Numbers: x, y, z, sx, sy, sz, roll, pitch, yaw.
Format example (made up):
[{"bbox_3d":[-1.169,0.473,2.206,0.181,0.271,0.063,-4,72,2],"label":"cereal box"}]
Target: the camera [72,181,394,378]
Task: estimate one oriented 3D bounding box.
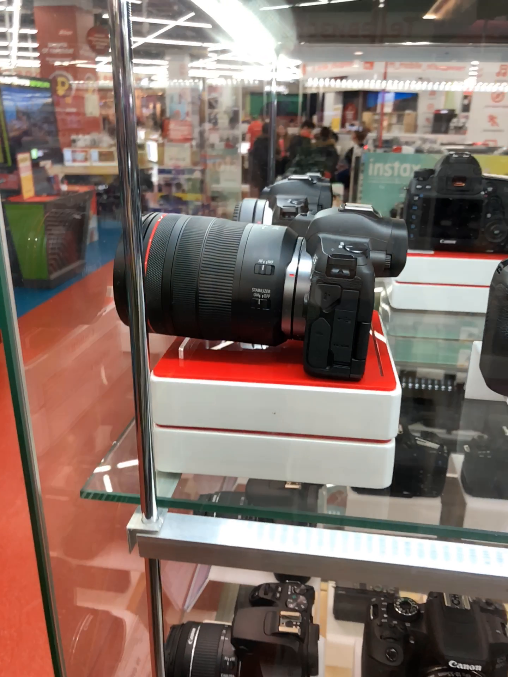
[{"bbox_3d":[-0.006,-0.052,0.393,0.180,0.093,0.145,4,21,7],"label":"camera"}]
